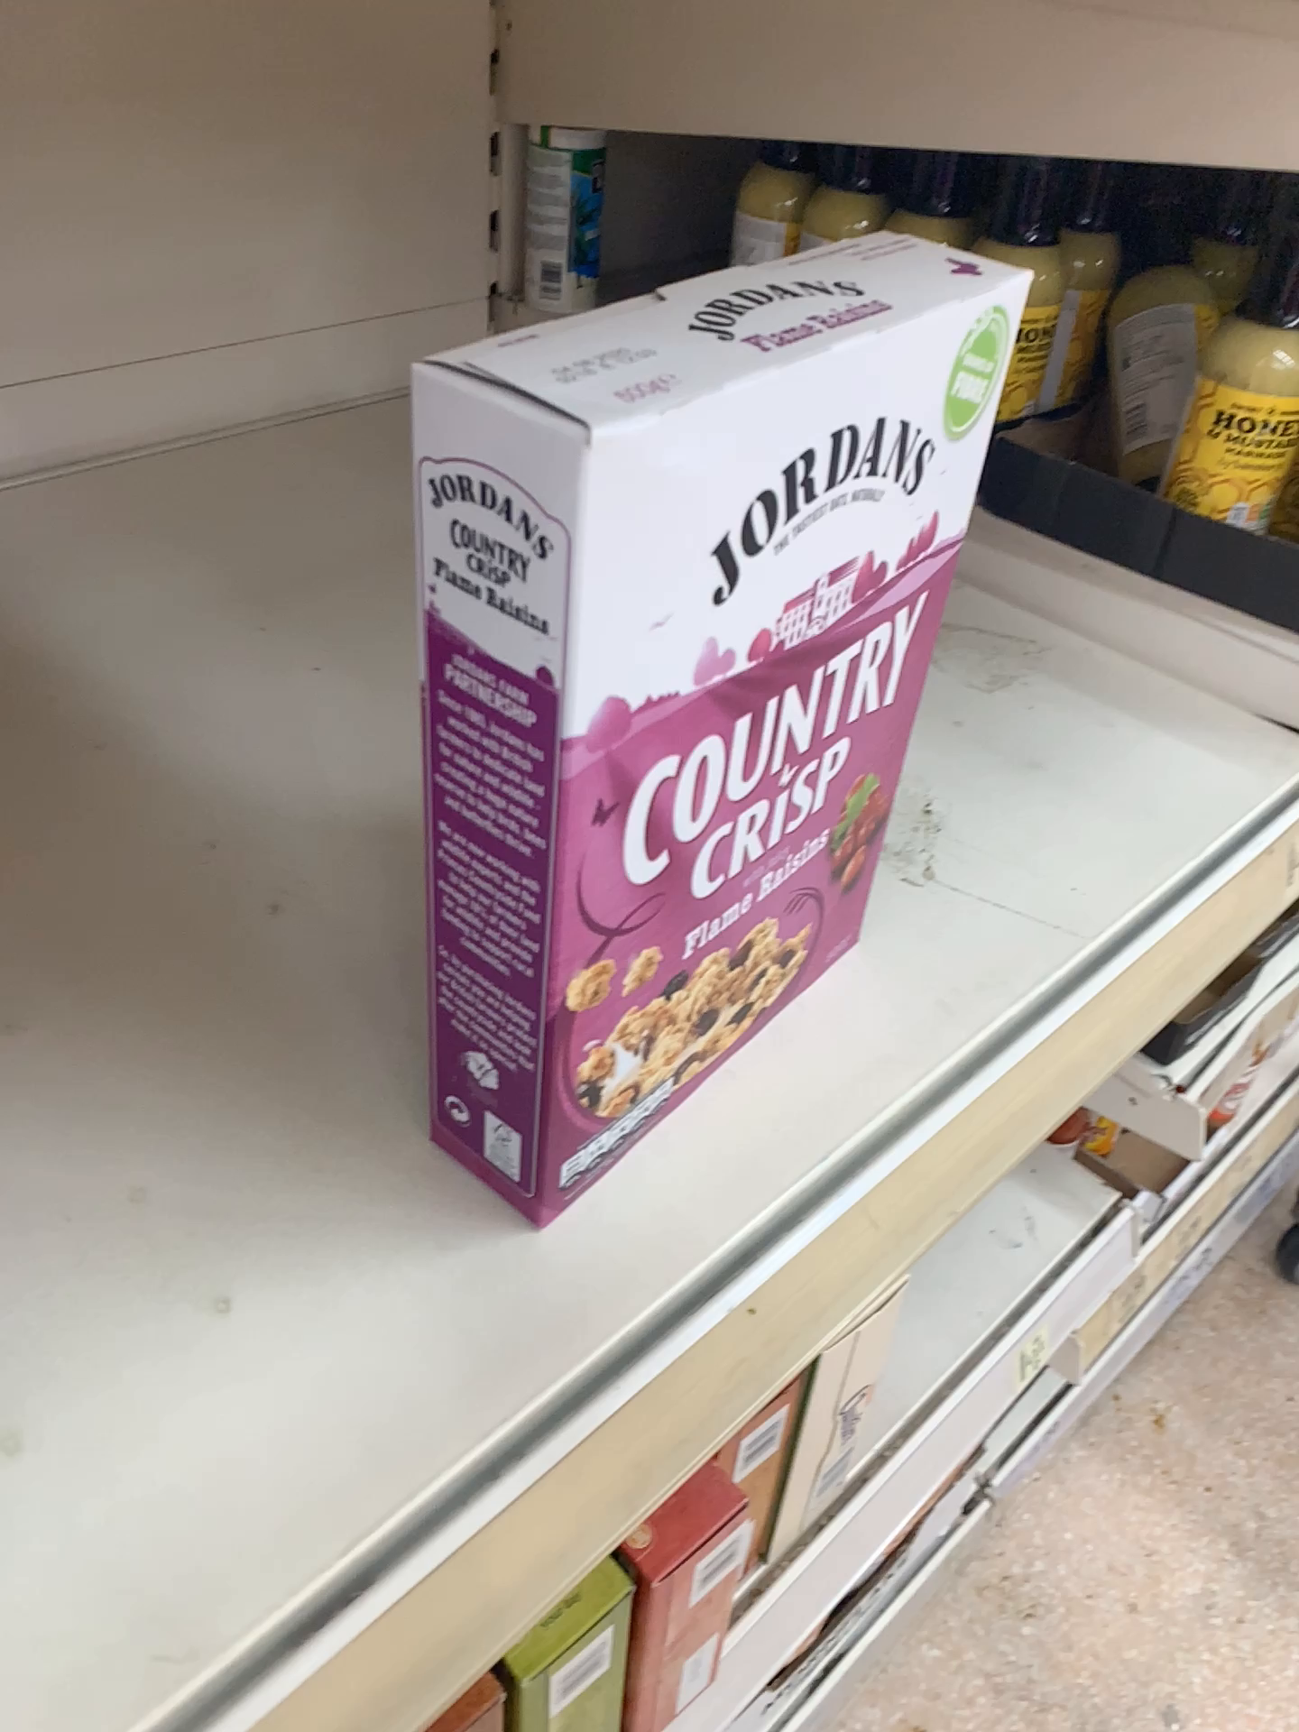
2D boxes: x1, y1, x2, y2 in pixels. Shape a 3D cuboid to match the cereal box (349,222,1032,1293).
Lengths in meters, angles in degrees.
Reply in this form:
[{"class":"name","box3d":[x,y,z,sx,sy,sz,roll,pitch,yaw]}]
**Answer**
[{"class":"cereal box","box3d":[0.013,-0.031,0.390,0.050,0.258,0.201,29,43,27]}]
